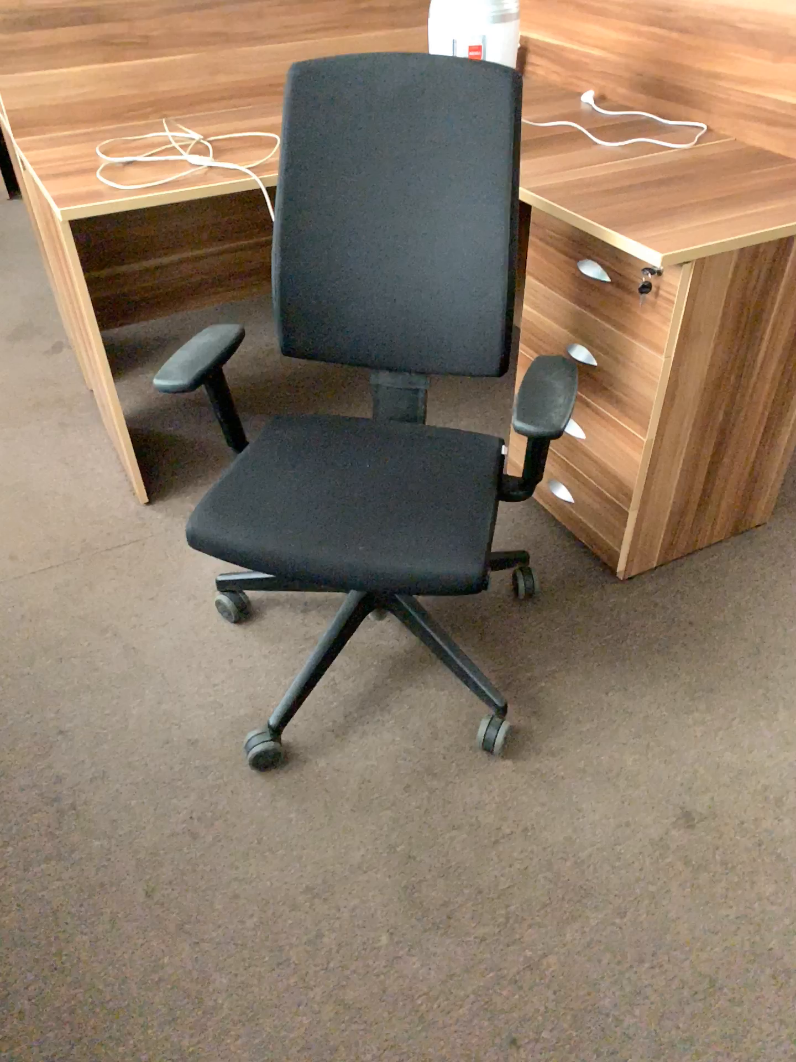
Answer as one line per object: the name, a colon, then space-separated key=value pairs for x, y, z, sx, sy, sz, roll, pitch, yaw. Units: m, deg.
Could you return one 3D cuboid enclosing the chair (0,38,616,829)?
chair: x=-0.072 y=-0.192 z=1.303 sx=0.670 sy=0.915 sz=0.794 roll=8 pitch=40 yaw=11
